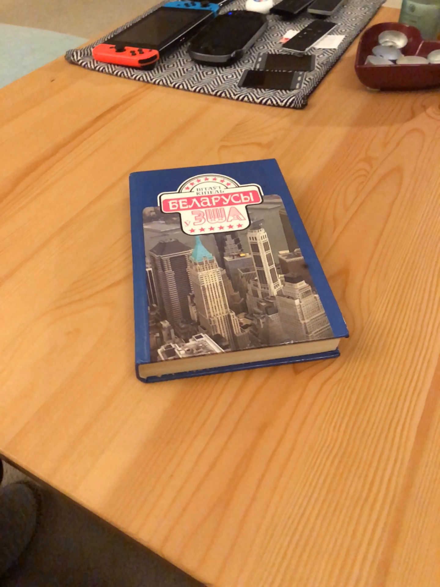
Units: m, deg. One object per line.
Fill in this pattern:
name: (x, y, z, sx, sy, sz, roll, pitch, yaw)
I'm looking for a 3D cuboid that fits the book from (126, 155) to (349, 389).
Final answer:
book: (-0.001, -0.035, 0.407, 0.146, 0.030, 0.225, -7, 48, -5)
